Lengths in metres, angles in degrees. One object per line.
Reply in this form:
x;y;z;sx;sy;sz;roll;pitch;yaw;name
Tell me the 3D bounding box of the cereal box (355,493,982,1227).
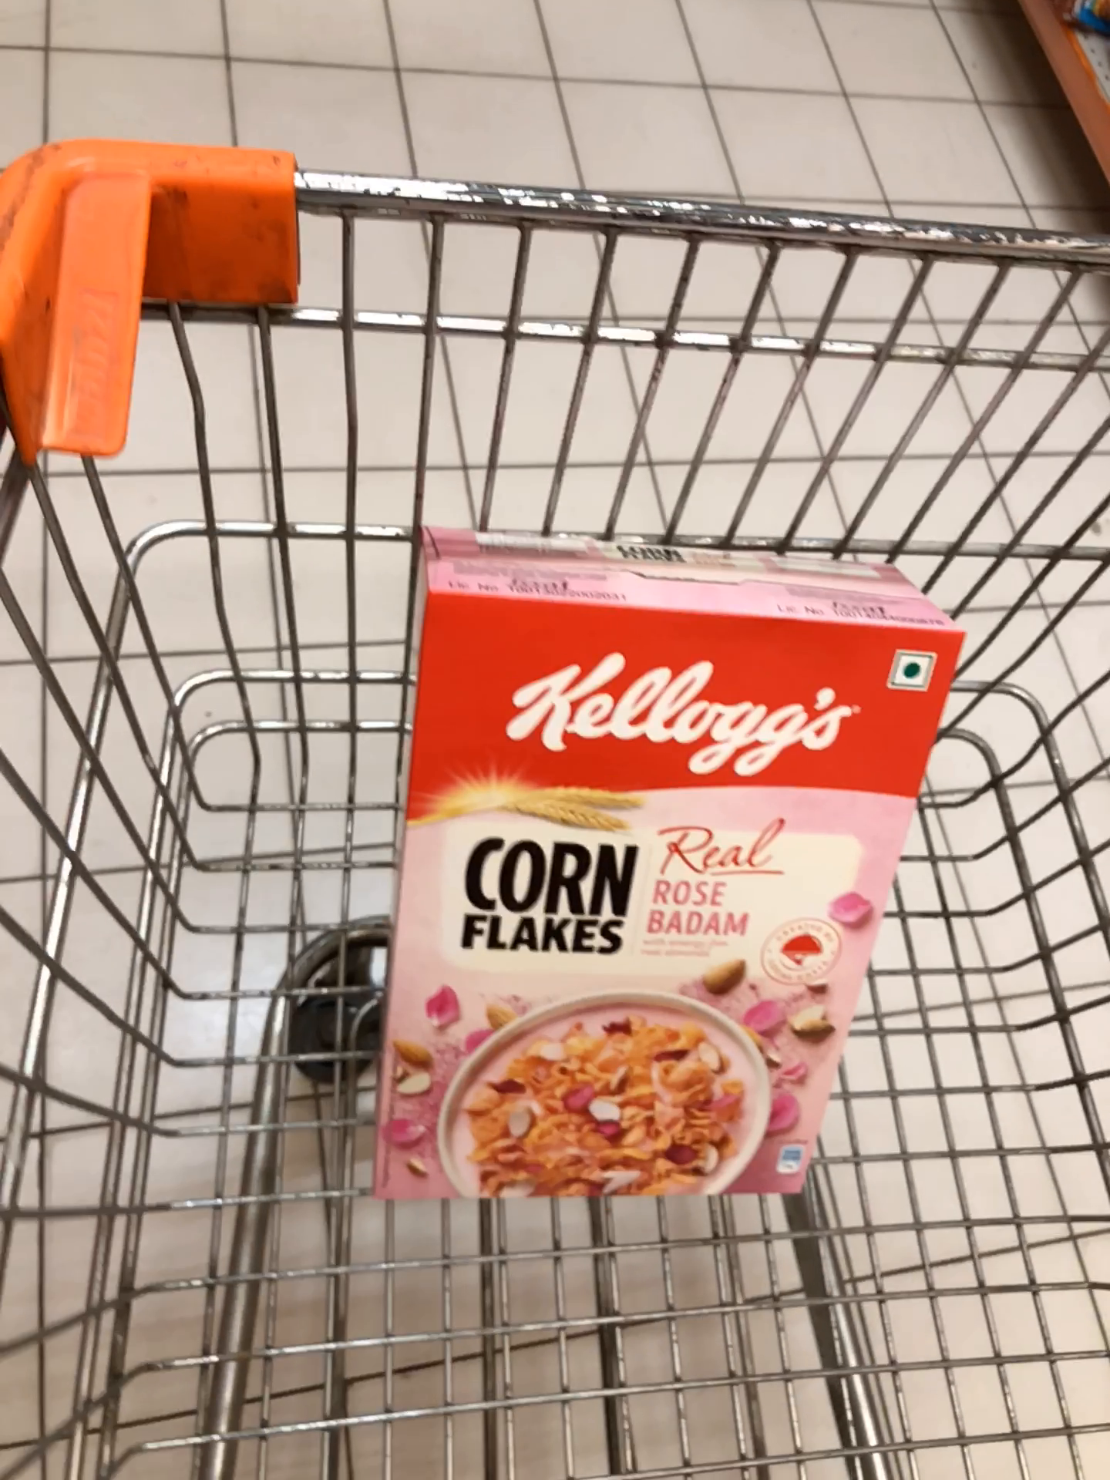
0.024;0.053;0.461;0.180;0.259;0.080;3;26;-10;cereal box
